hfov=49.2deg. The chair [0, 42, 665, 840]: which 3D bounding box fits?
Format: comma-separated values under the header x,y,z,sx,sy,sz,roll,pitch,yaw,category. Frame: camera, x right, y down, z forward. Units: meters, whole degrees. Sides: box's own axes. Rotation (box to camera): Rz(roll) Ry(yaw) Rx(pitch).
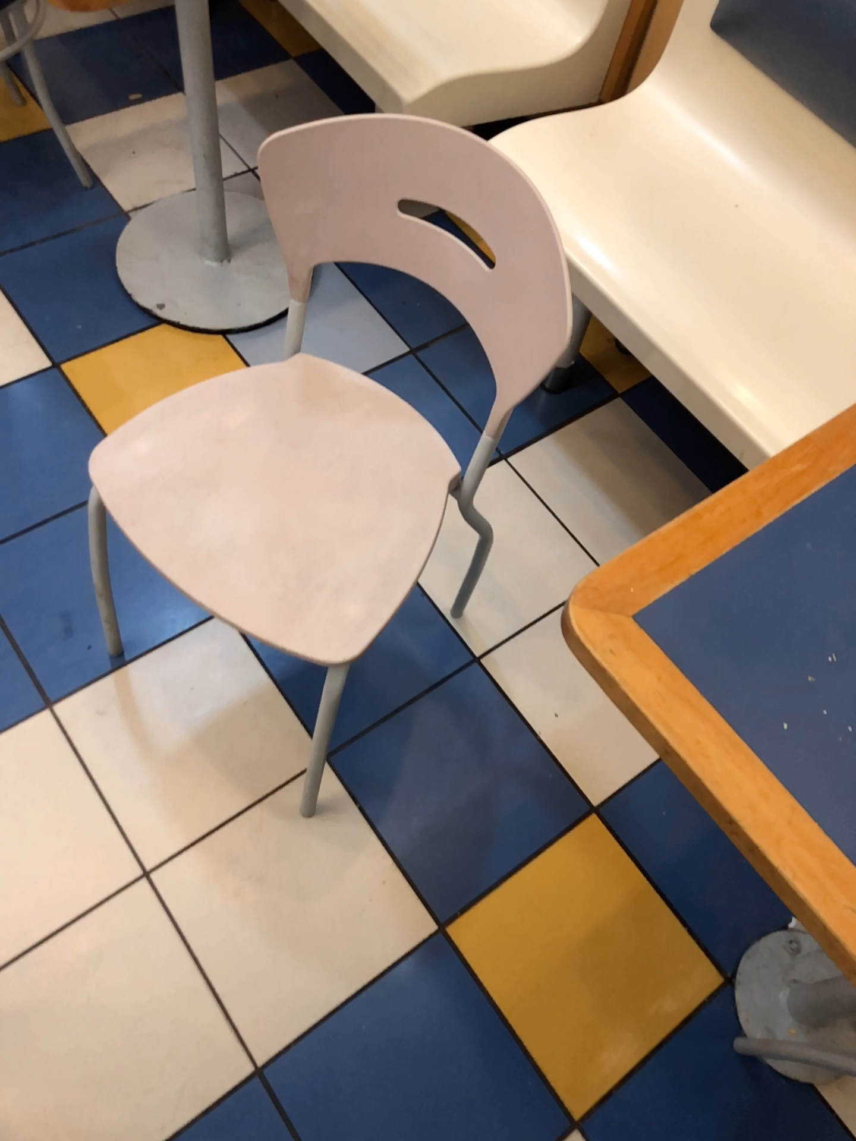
x,y,z,sx,sy,sz,roll,pitch,yaw,category
-0.143,-0.093,1.190,0.440,0.776,0.512,36,62,12,chair
